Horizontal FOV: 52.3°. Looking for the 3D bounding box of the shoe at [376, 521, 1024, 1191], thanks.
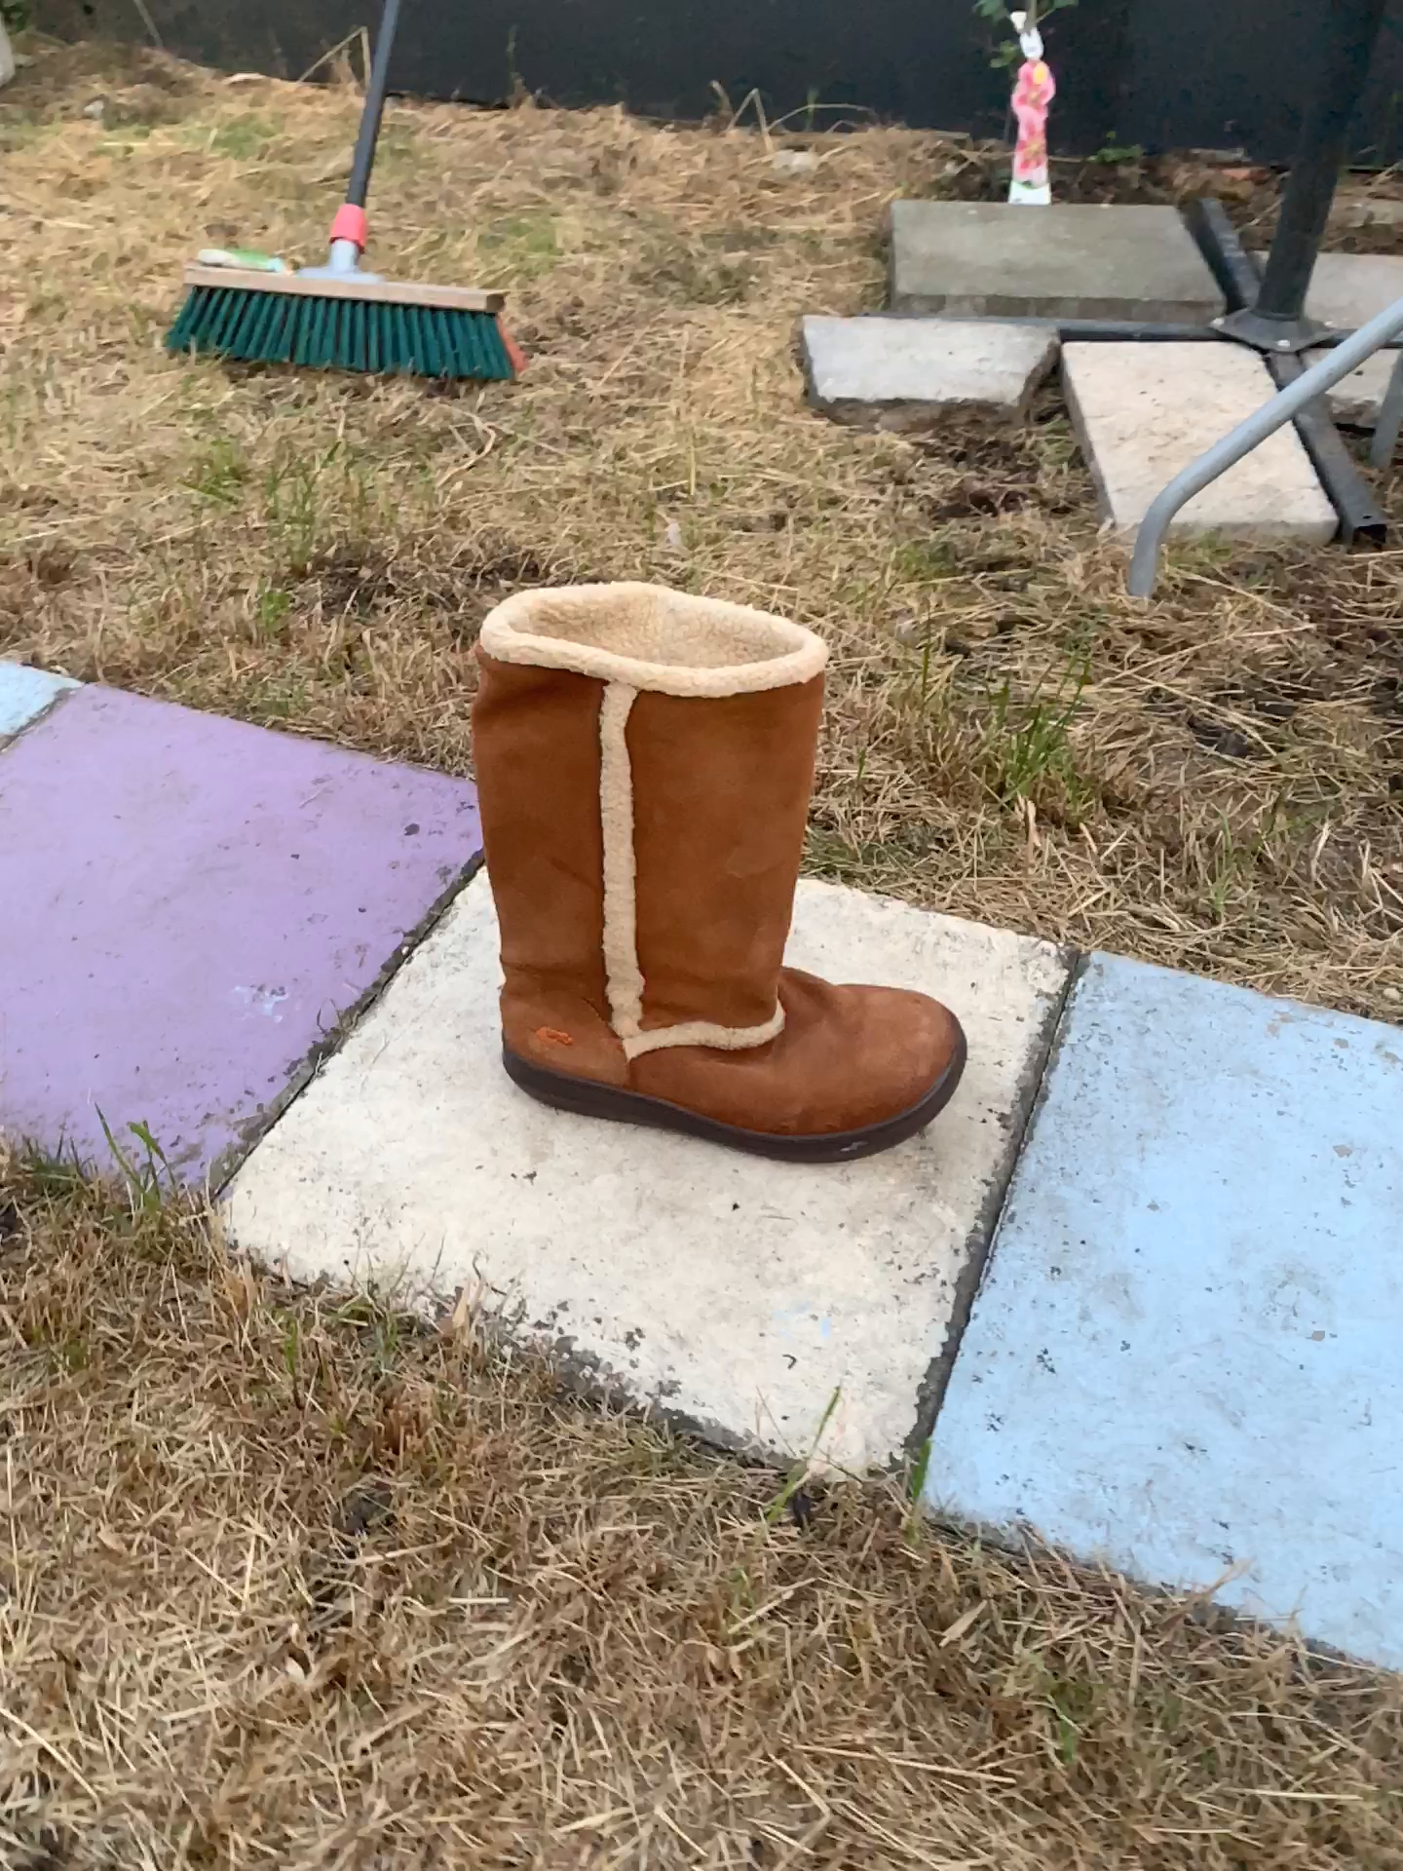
[{"bbox_3d":[0.007,-0.031,0.709,0.260,0.297,0.111,7,42,10],"label":"shoe"}]
